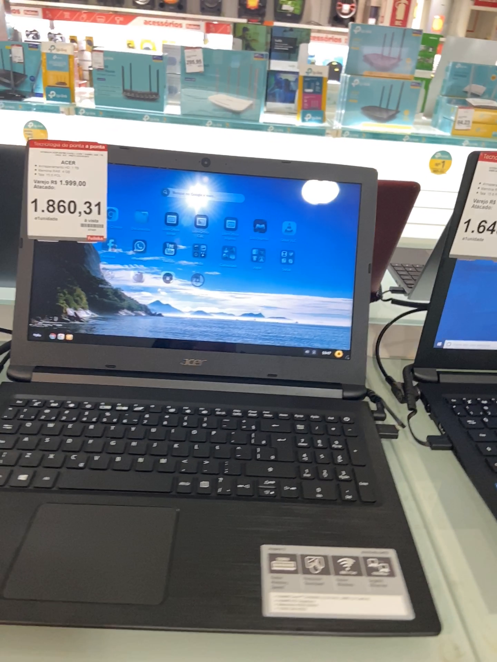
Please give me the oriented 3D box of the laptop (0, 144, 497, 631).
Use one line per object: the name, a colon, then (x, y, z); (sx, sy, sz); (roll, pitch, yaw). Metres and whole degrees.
laptop: (-0.054, -0.002, 0.440); (0.379, 0.215, 0.381); (3, 29, -2)
